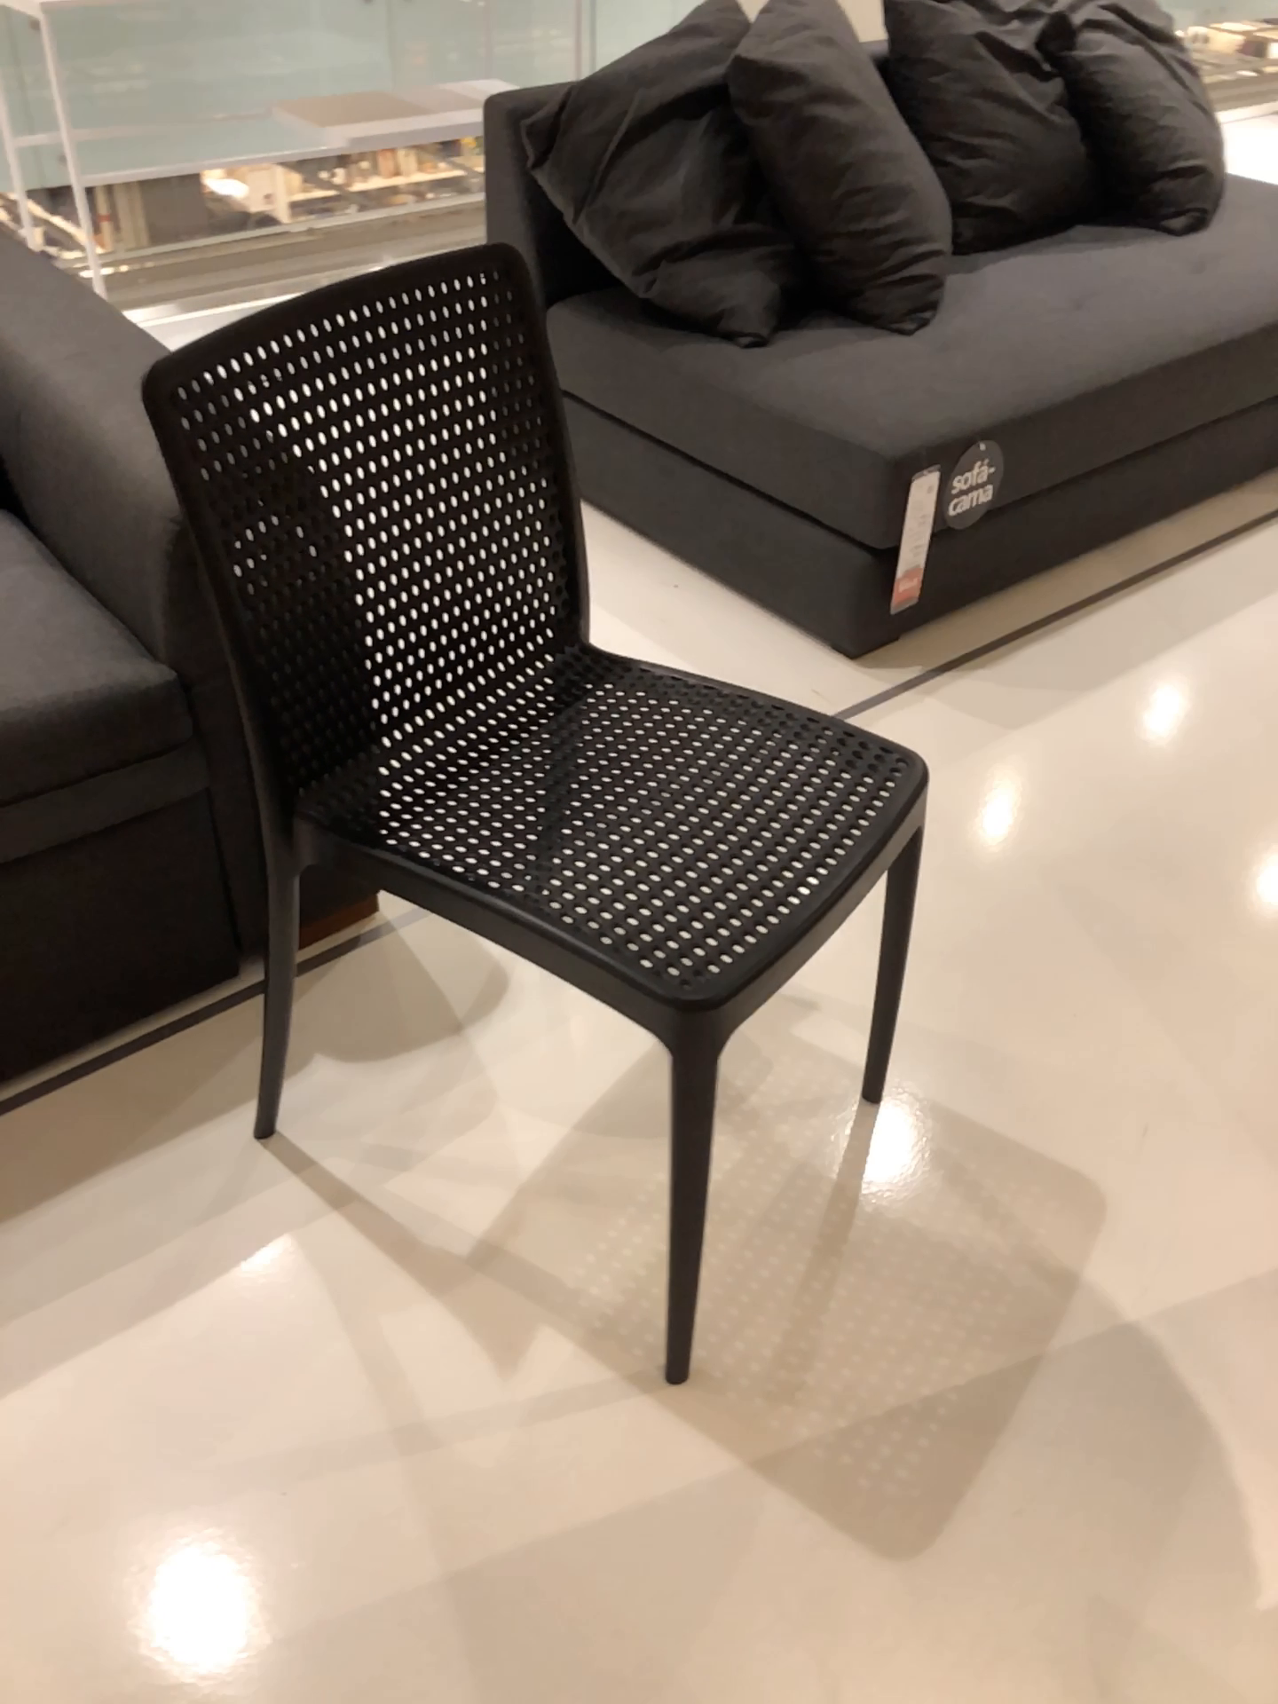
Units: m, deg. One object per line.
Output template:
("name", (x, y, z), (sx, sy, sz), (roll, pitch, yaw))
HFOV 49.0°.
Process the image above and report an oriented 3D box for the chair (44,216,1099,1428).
("chair", (-0.037, -0.050, 1.258), (0.561, 0.784, 0.533), (23, 43, 24))
